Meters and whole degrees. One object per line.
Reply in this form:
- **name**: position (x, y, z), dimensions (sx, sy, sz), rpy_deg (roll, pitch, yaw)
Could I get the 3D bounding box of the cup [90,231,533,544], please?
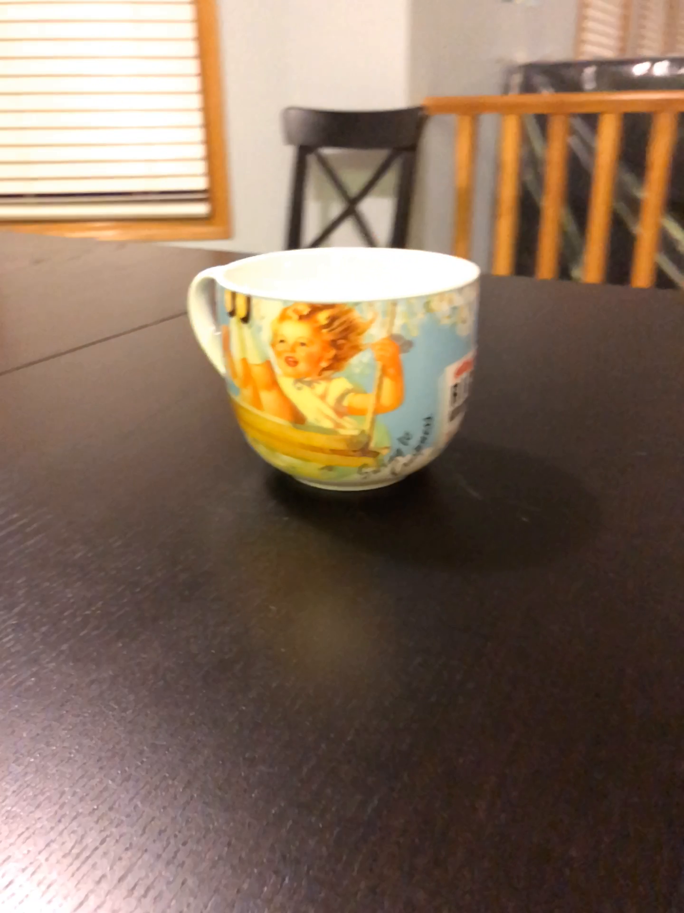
- **cup**: position (-0.009, -0.044, 0.348), dimensions (0.150, 0.090, 0.120), rpy_deg (12, 26, 27)
